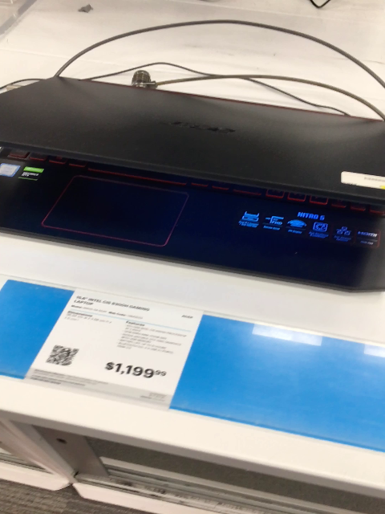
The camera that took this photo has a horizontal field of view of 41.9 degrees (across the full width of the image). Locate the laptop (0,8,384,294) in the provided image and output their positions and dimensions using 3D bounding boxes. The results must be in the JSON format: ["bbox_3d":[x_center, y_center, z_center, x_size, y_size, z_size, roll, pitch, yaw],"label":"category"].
[{"bbox_3d":[0.023,-0.116,0.478,0.410,0.101,0.228,11,54,9],"label":"laptop"}]
